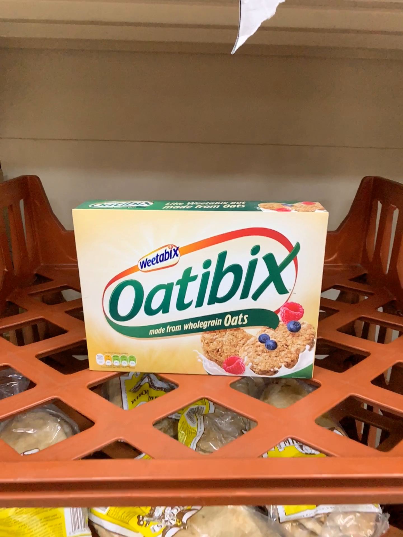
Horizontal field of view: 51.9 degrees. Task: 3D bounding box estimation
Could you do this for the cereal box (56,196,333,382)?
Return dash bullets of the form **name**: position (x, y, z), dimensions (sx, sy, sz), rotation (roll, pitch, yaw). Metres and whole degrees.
- **cereal box**: position (-0.008, 0.020, 0.449), dimensions (0.260, 0.179, 0.070), rotation (2, 19, 3)
